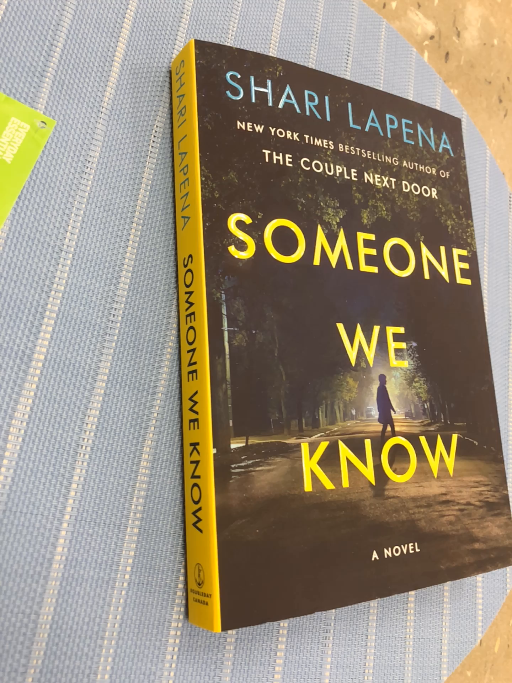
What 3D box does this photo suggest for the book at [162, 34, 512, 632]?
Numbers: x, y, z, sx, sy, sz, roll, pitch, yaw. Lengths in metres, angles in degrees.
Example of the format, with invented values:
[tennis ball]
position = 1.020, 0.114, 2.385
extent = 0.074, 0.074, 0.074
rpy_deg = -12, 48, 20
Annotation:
[book]
position = 0.042, -0.008, 0.262
extent = 0.162, 0.030, 0.224
rpy_deg = 2, 78, -29
